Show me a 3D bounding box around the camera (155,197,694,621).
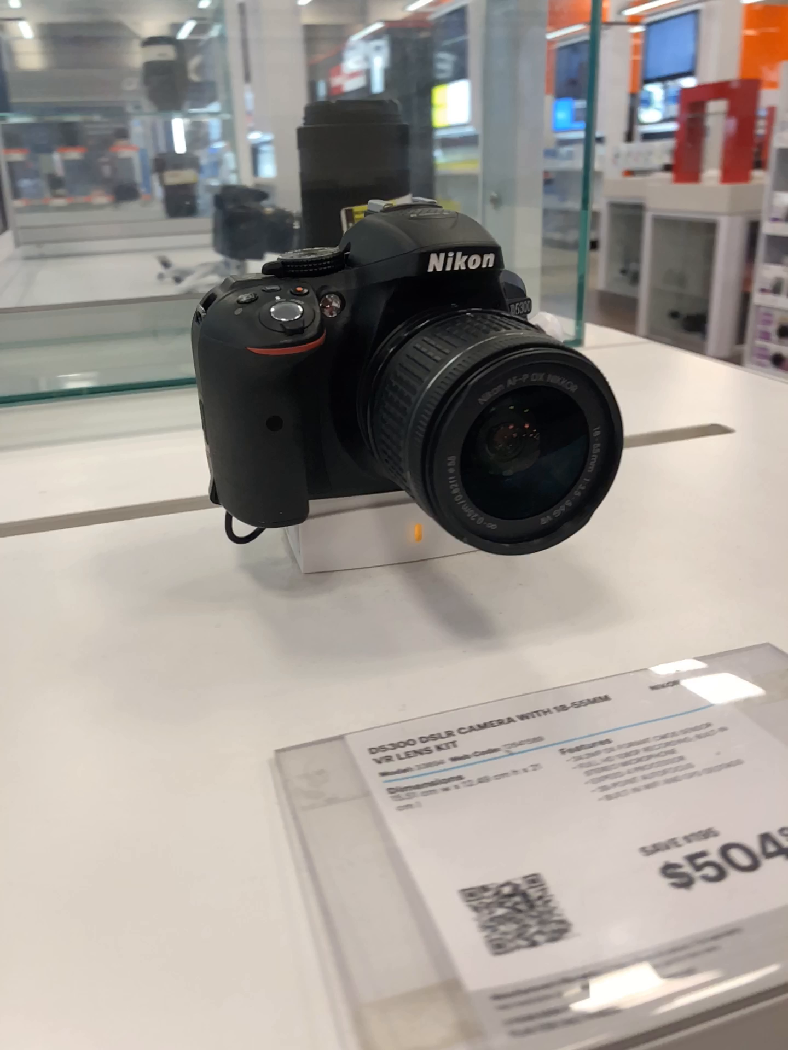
[{"bbox_3d":[-0.002,-0.054,0.297,0.130,0.100,0.140,-9,22,-17],"label":"camera"}]
